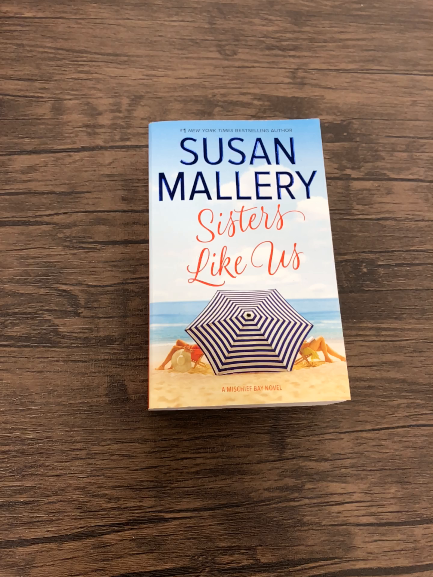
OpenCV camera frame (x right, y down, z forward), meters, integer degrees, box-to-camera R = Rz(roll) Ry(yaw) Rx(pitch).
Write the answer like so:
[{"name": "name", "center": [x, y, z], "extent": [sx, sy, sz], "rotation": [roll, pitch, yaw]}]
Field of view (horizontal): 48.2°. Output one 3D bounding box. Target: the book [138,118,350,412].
[{"name": "book", "center": [0.010, -0.014, 0.276], "extent": [0.104, 0.043, 0.160], "rotation": [-1, 76, -3]}]
